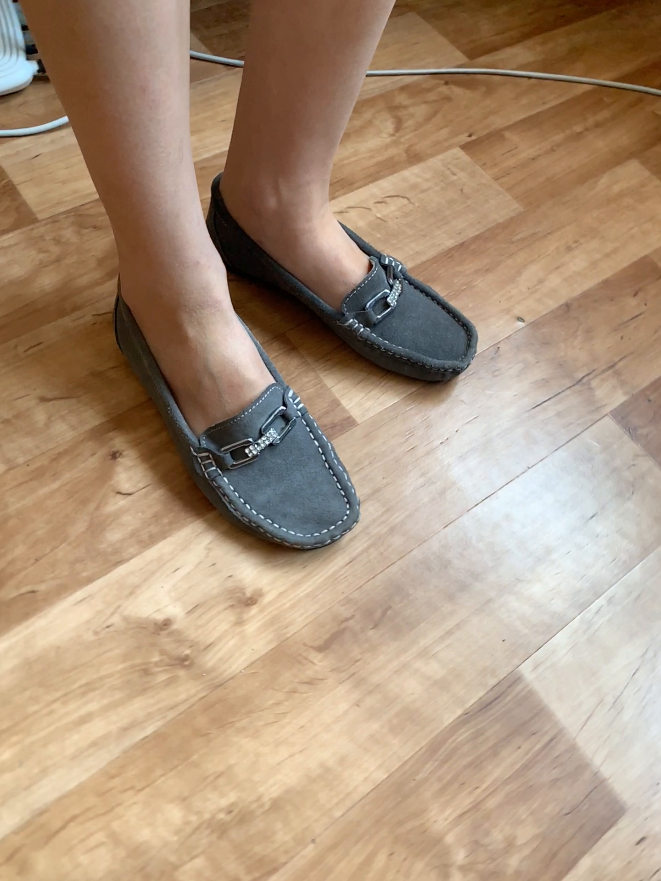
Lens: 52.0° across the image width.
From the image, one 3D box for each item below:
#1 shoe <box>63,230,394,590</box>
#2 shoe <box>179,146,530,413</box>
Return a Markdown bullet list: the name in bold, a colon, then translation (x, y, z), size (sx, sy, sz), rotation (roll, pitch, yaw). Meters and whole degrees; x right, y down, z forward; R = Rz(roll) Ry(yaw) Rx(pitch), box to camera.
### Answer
- **shoe**: translation (-0.073, -0.028, 0.463), size (0.090, 0.060, 0.240), rotation (-34, 71, -19)
- **shoe**: translation (0.016, -0.126, 0.521), size (0.240, 0.060, 0.100), rotation (26, 61, 6)
